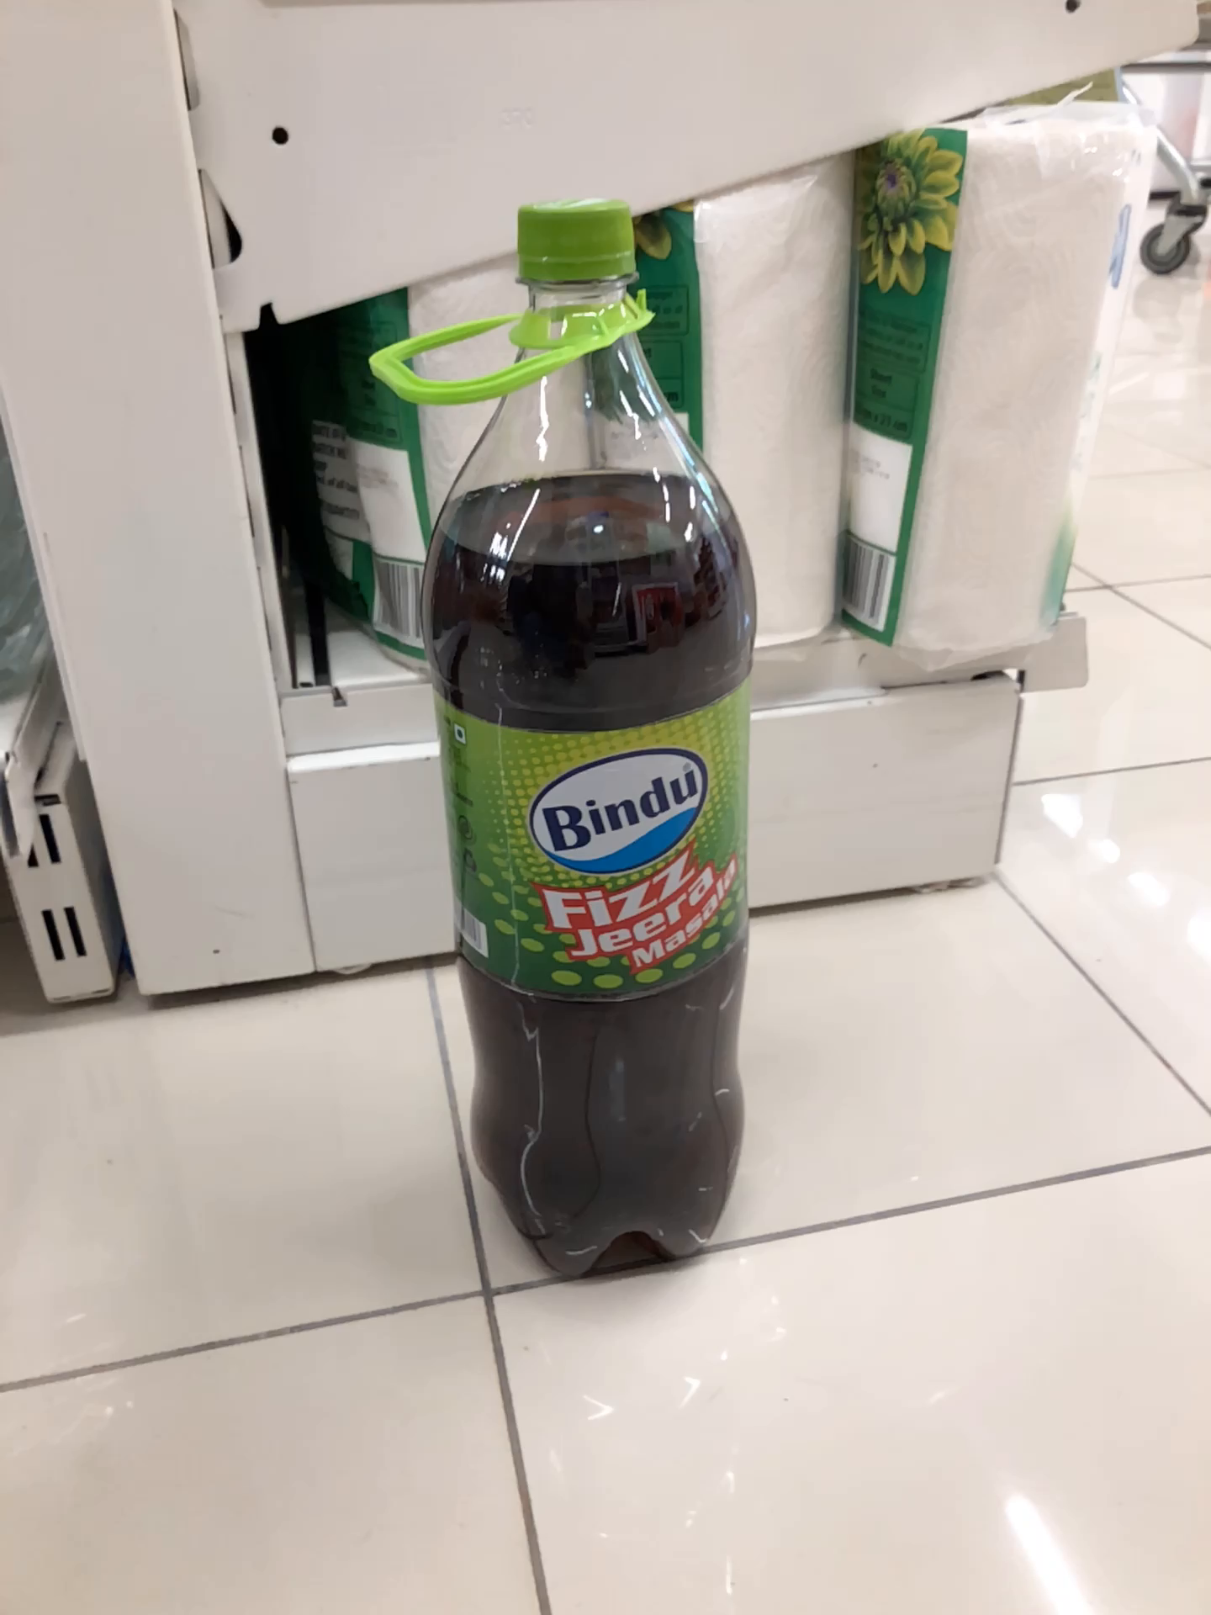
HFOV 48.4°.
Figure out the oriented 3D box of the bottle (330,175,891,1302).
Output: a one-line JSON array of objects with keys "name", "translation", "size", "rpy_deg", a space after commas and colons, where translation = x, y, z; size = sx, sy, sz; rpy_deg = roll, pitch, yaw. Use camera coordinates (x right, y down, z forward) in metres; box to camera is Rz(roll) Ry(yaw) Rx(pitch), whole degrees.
[{"name": "bottle", "translation": [-0.001, -0.014, 0.391], "size": [0.110, 0.298, 0.100], "rpy_deg": [-1, 28, 1]}]
